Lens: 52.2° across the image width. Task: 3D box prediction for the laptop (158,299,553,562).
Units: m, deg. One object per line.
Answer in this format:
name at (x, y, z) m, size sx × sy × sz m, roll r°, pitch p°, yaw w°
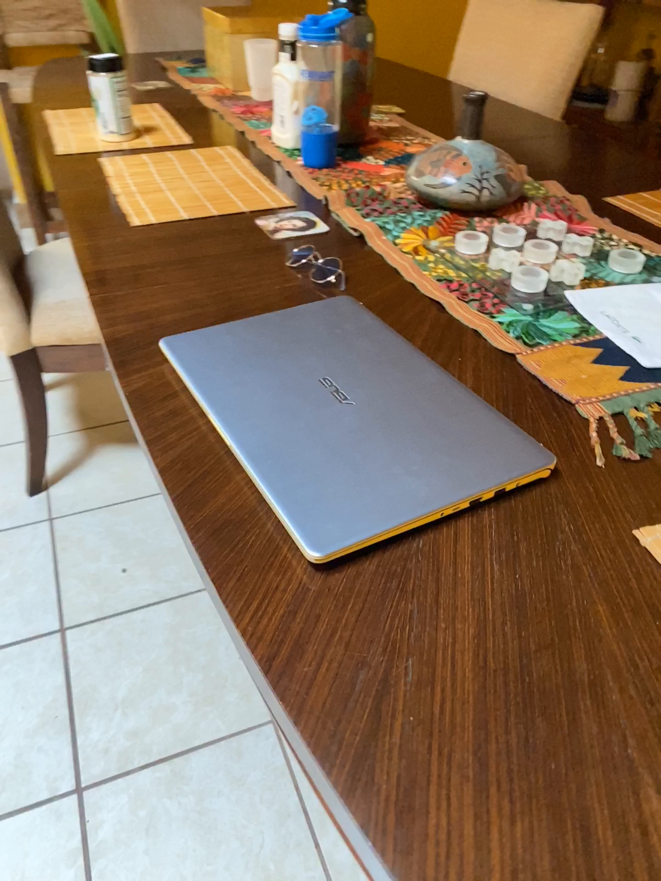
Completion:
laptop at (0.002, -0.045, 0.705) m, size 0.246 × 0.001 × 0.384 m, roll -19°, pitch 42°, yaw -23°
